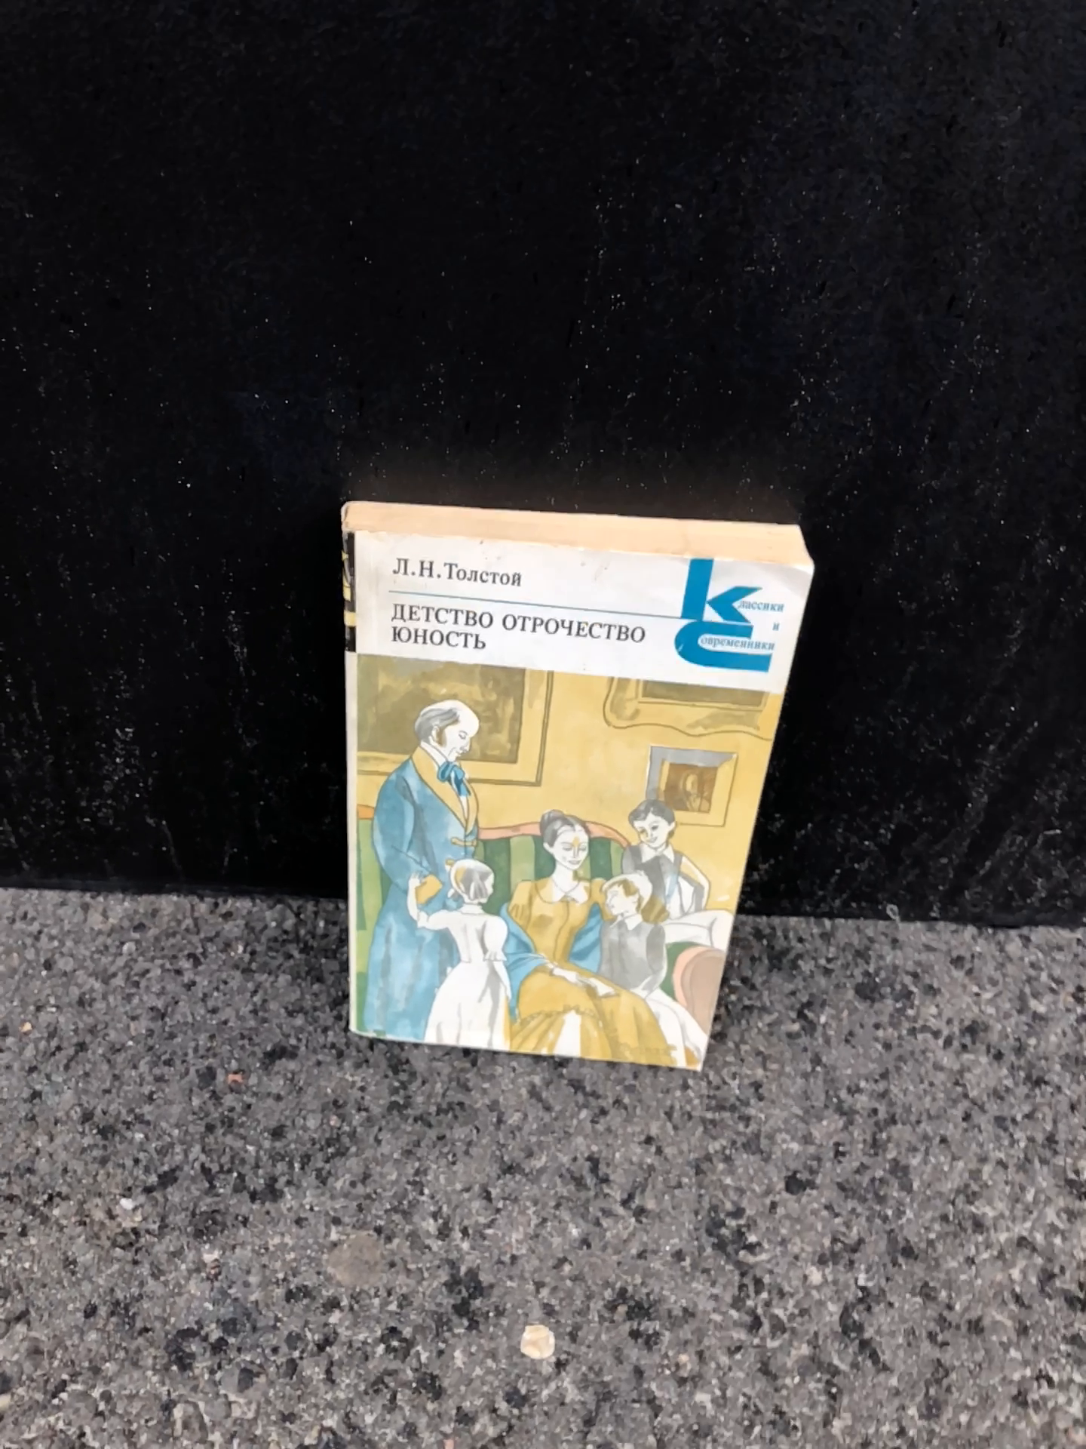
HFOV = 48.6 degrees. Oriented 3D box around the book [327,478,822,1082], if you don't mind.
[{"bbox_3d":[0.001,0.026,0.353,0.120,0.184,0.030,5,33,-1],"label":"book"}]
